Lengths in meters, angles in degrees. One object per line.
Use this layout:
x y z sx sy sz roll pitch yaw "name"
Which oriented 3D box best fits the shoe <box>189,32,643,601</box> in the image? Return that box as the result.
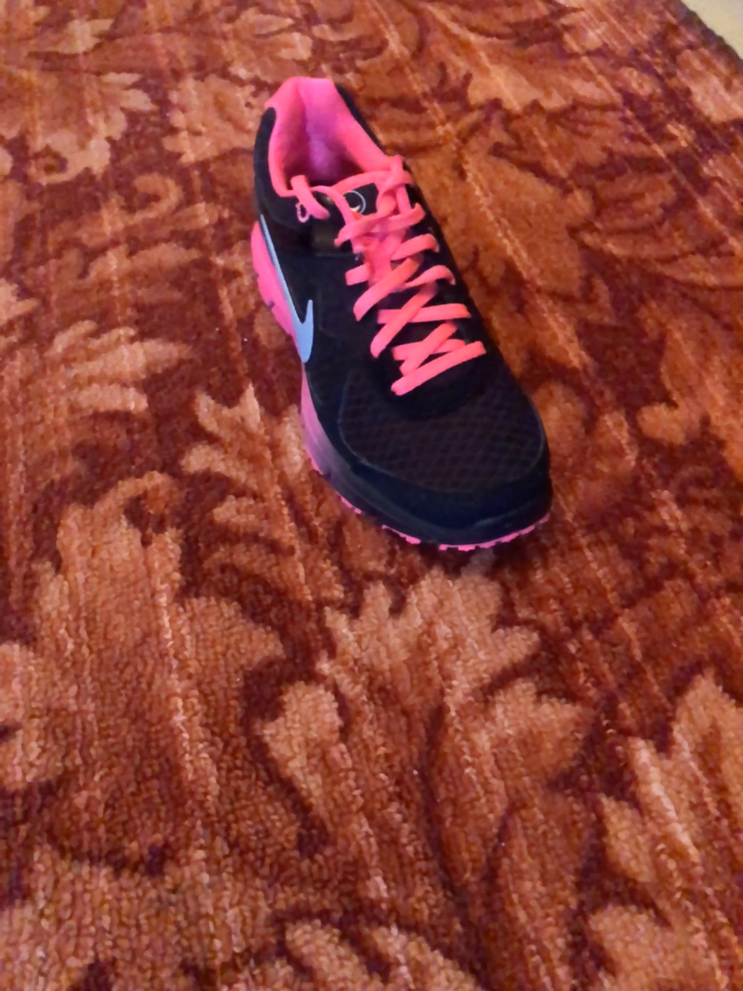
0.003 -0.093 0.381 0.100 0.110 0.241 -17 57 -12 "shoe"
